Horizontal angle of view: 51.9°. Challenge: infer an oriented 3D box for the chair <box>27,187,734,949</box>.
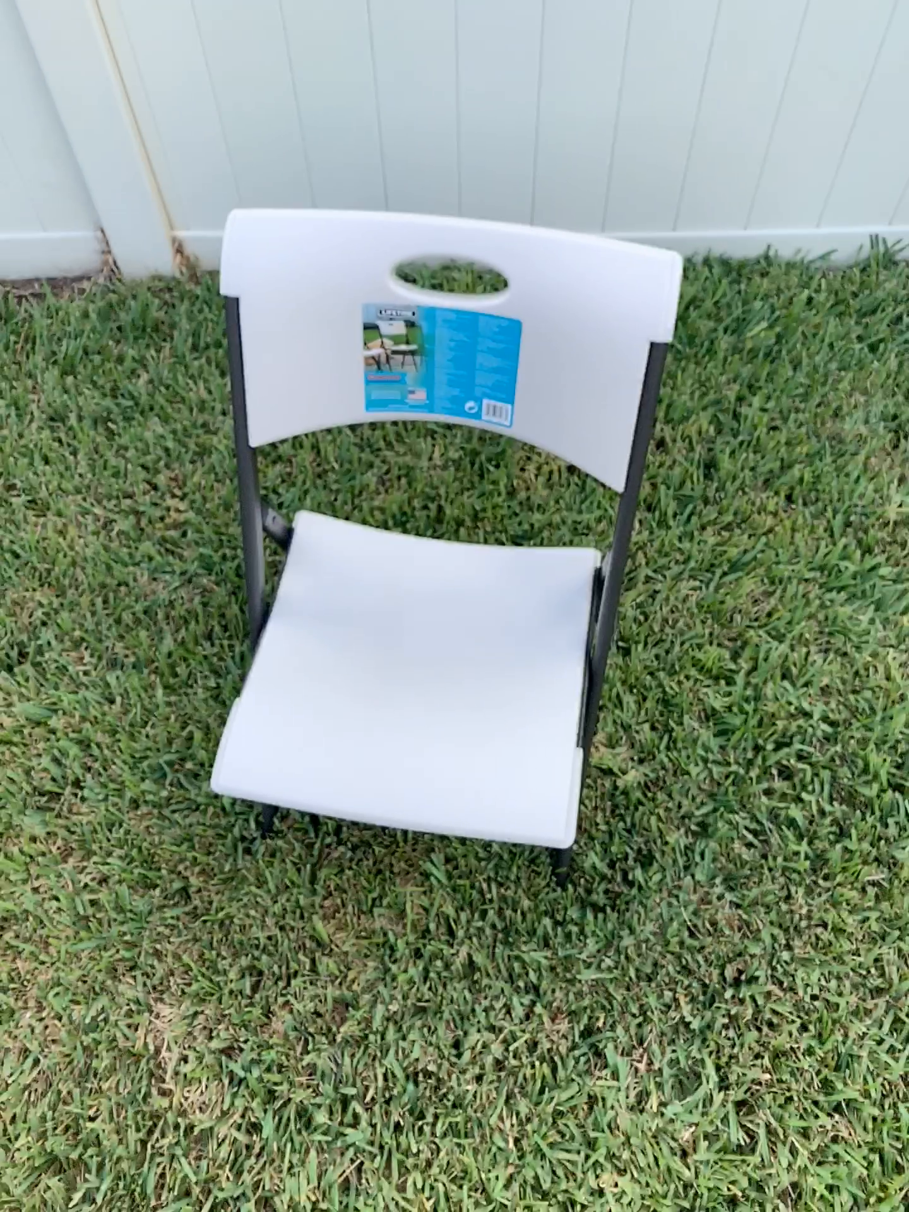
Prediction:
[{"bbox_3d":[-0.014,0.017,1.133,0.518,0.768,0.518,8,57,6],"label":"chair"}]
